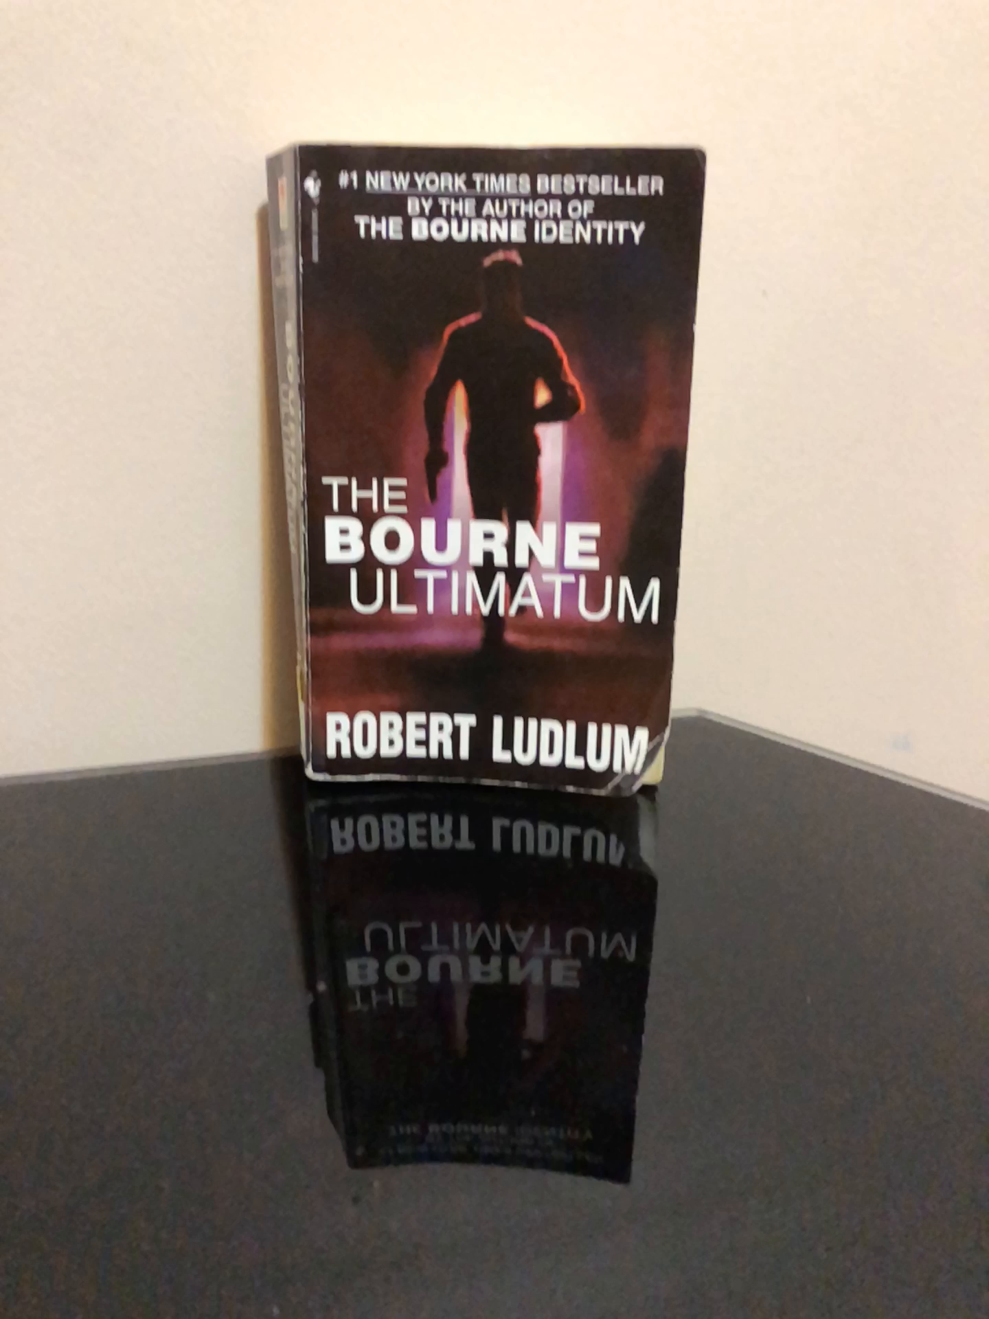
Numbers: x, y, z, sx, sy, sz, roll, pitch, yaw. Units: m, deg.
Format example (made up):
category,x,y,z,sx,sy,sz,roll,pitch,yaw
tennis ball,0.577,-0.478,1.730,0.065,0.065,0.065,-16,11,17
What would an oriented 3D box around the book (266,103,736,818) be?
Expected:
category,x,y,z,sx,sy,sz,roll,pitch,yaw
book,0.002,-0.056,0.333,0.120,0.190,0.070,-2,12,-3
